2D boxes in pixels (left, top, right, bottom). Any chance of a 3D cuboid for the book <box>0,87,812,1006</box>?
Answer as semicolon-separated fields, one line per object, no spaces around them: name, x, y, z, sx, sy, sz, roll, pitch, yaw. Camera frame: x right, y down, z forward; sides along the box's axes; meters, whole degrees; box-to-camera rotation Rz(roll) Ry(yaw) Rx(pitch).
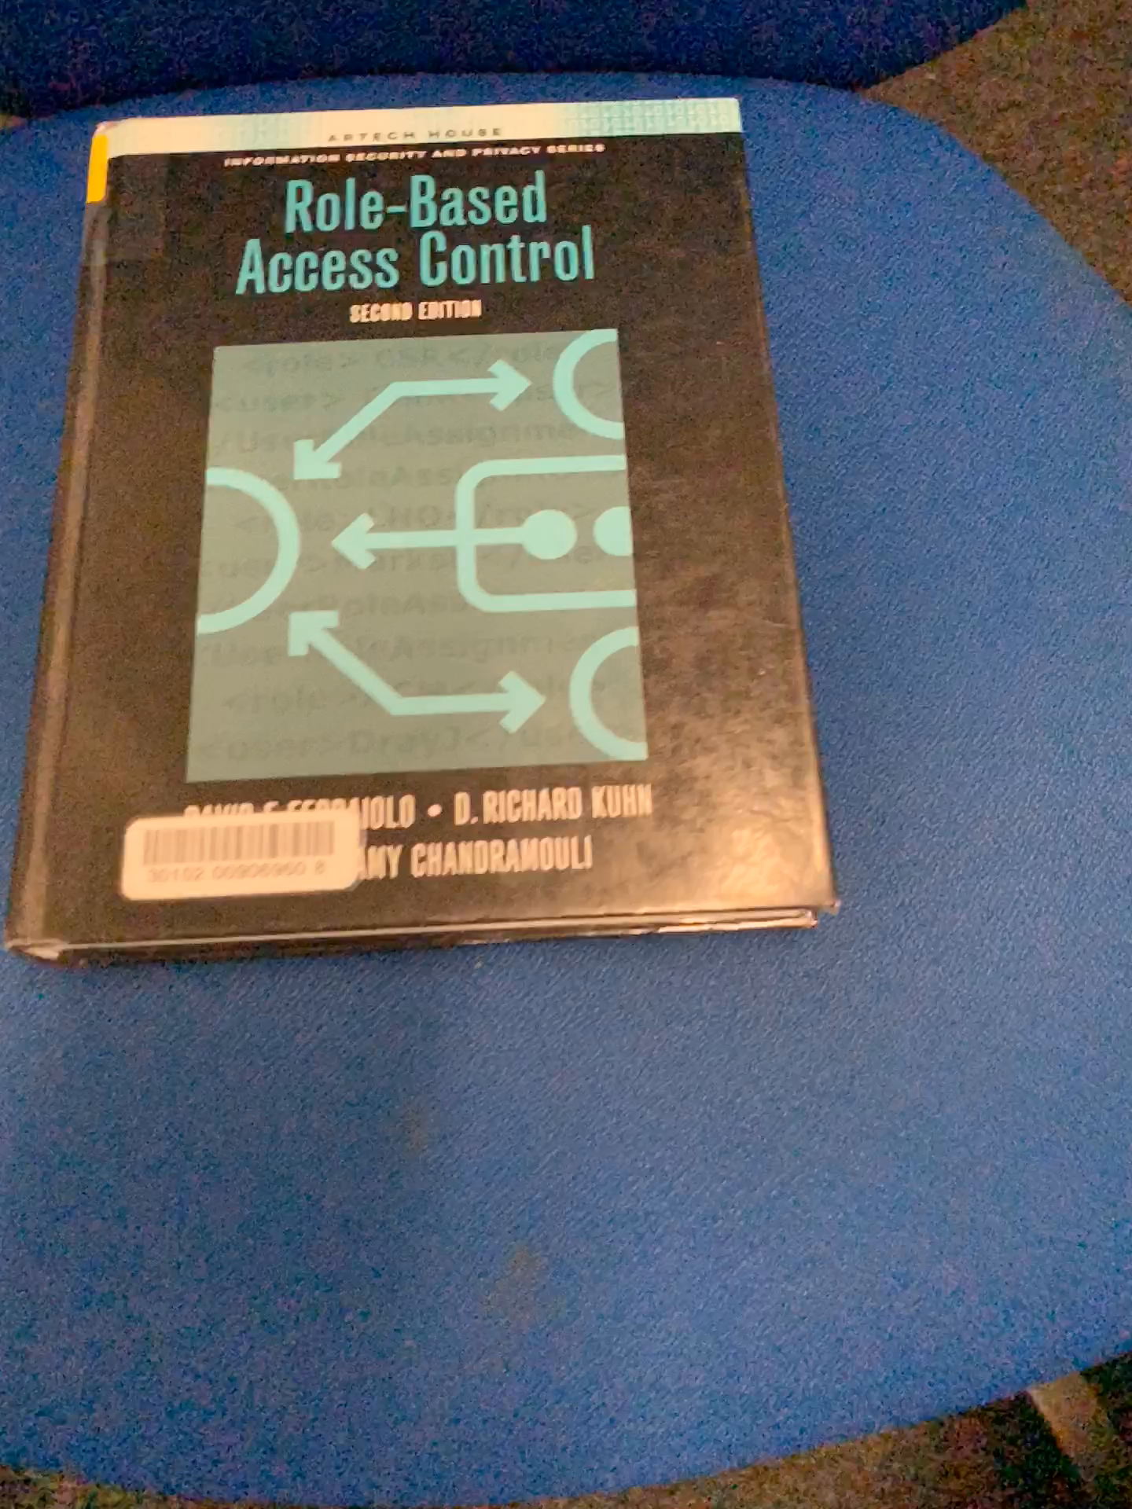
book;-0.048;-0.064;0.298;0.189;0.030;0.241;-2;70;-1
